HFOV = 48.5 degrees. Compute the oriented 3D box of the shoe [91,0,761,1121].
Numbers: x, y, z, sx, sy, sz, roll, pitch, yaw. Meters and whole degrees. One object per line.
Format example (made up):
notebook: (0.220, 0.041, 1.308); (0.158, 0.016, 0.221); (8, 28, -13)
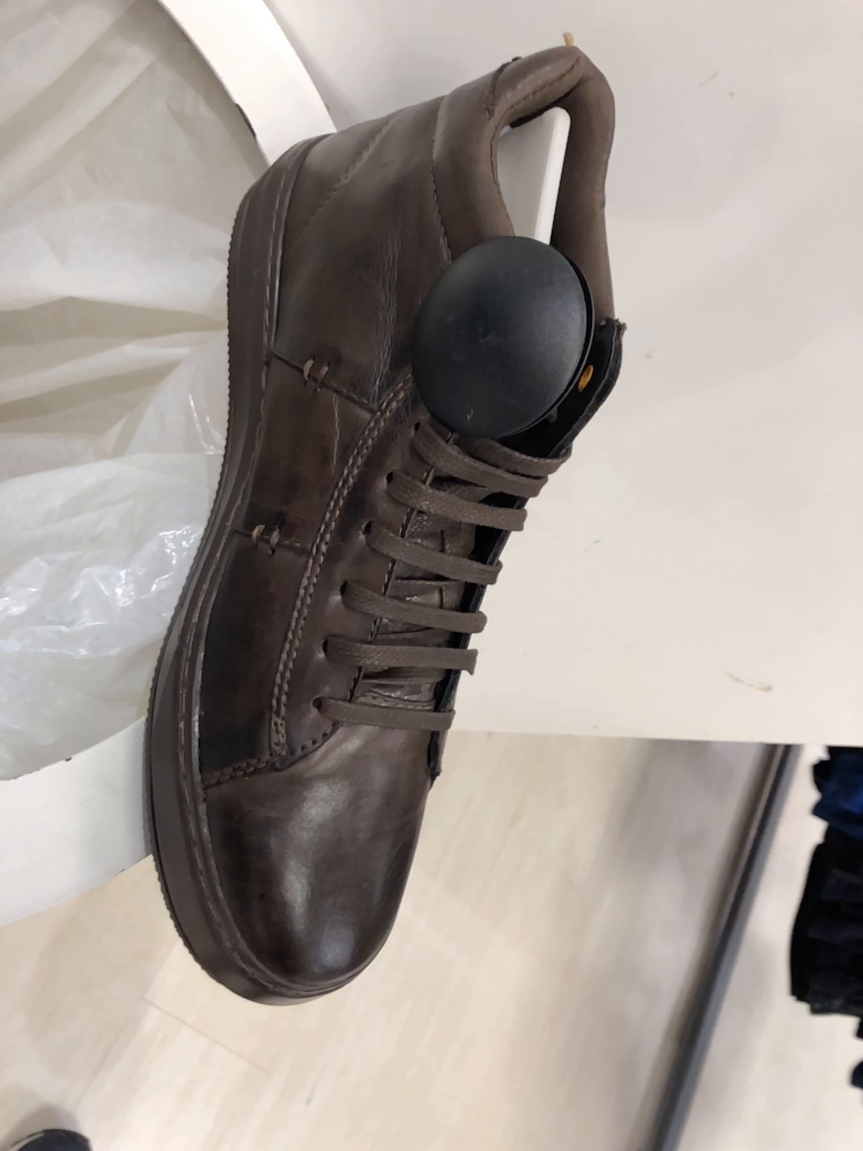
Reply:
shoe: (0.005, -0.015, 0.292); (0.121, 0.139, 0.270); (15, 75, -43)
